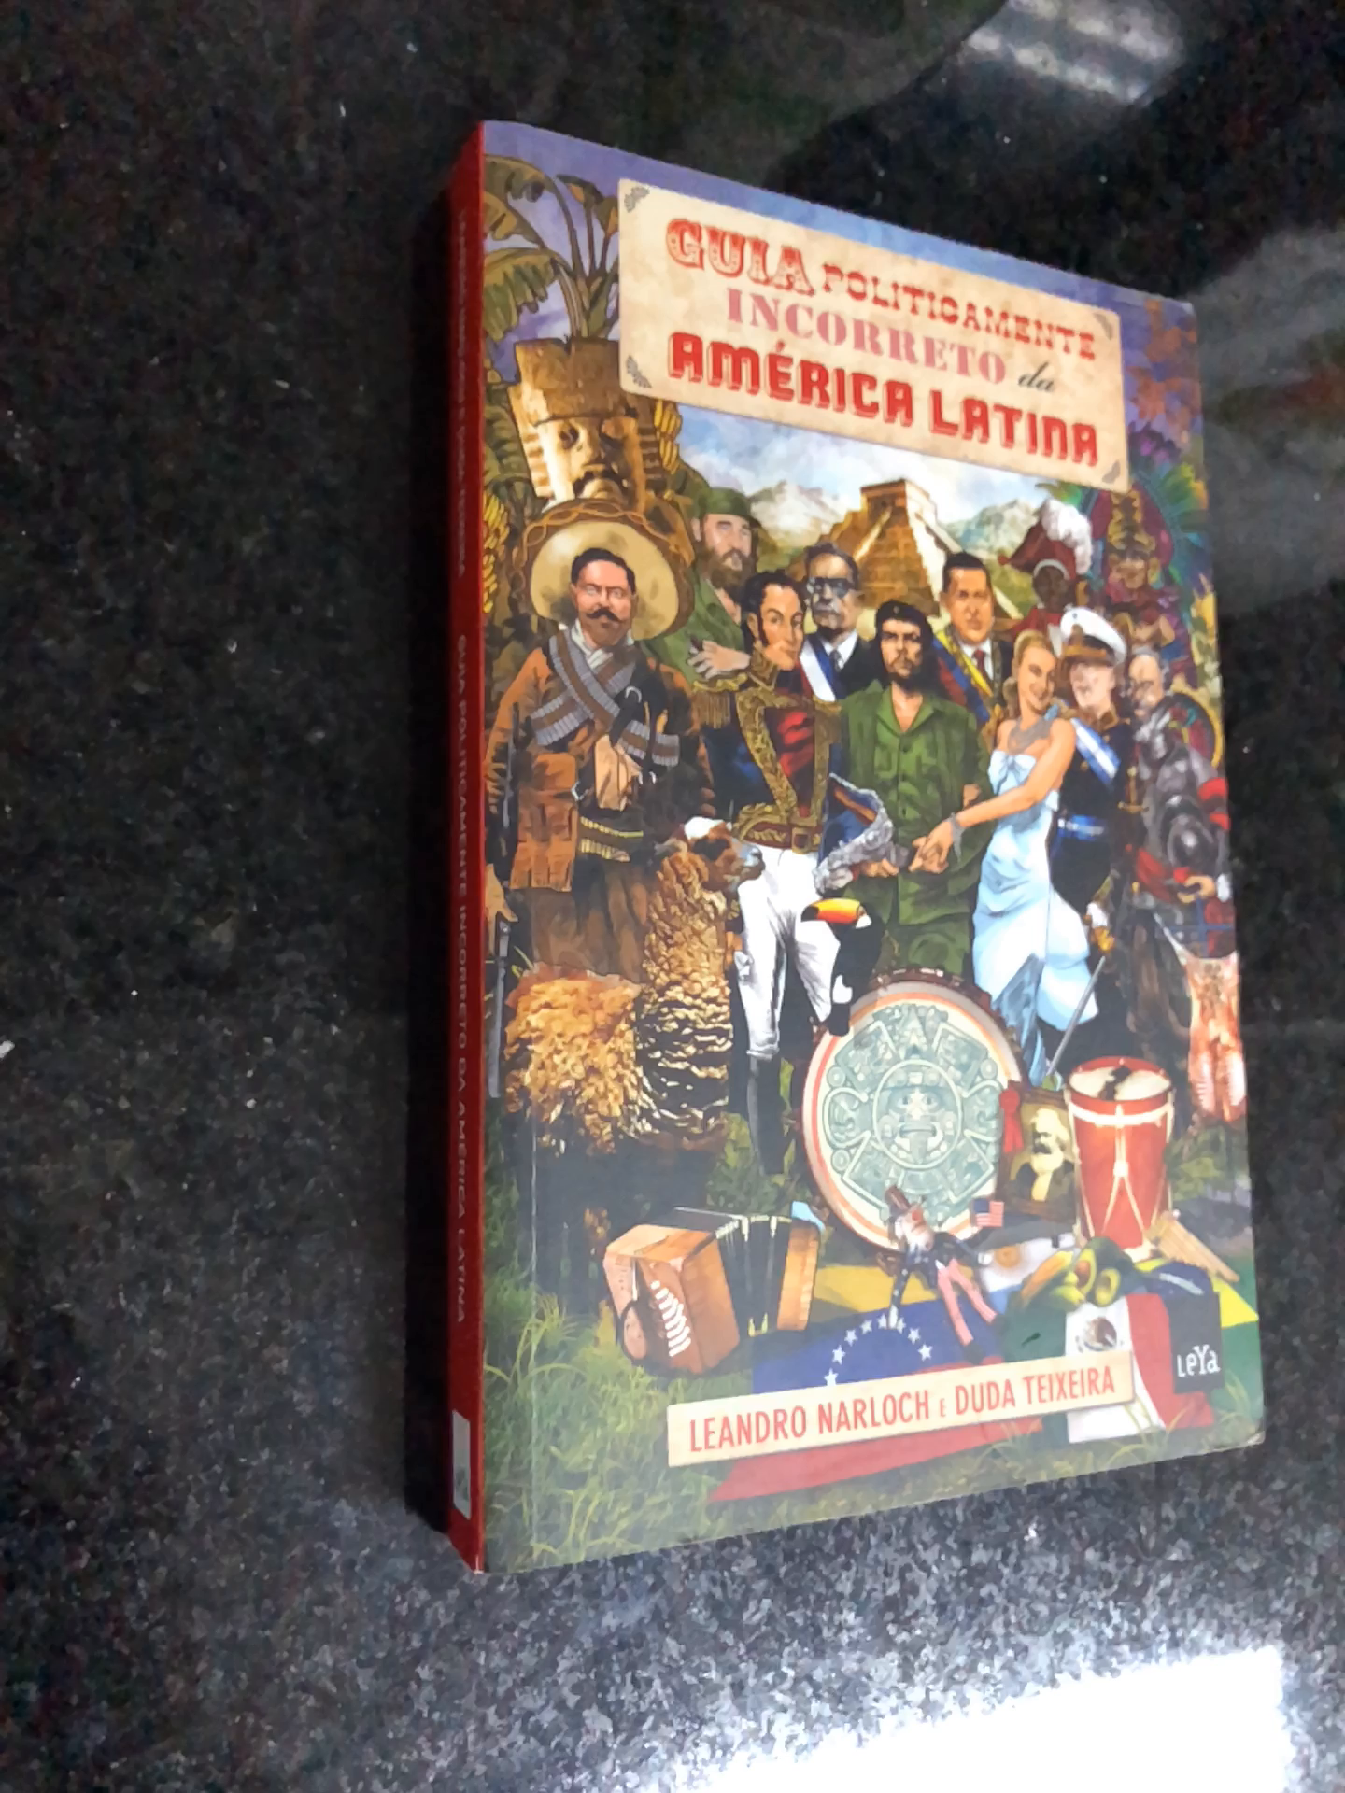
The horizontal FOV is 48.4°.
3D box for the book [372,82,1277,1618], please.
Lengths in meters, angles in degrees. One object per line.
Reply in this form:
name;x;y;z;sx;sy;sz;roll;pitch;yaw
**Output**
book;0.027;-0.009;0.262;0.150;0.040;0.220;2;82;-26
